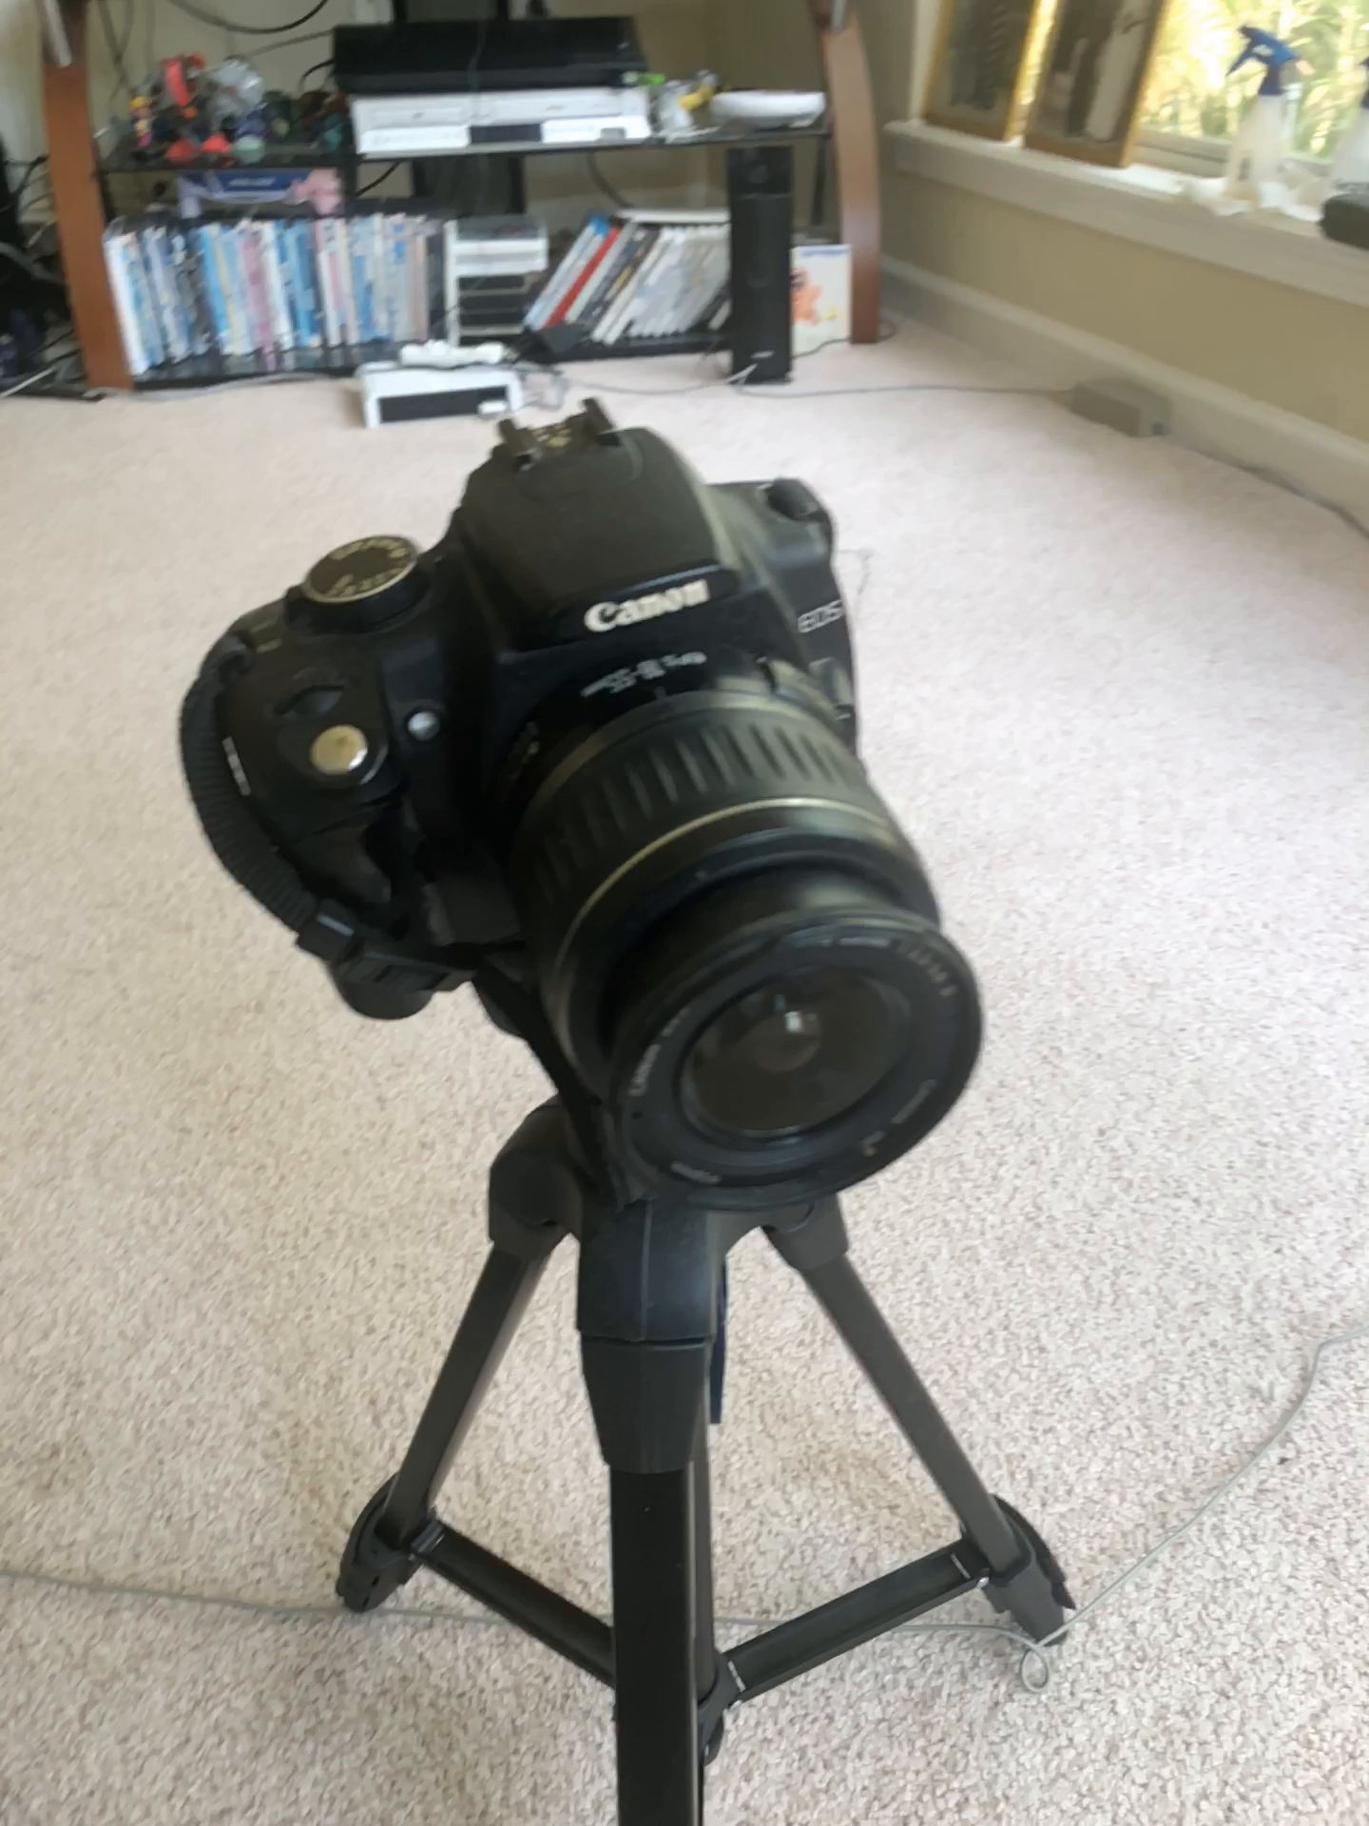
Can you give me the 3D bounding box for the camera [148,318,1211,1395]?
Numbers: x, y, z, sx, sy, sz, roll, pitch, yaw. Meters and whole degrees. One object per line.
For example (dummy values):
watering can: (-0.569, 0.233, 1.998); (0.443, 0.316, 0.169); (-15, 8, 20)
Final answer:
camera: (-0.009, -0.021, 0.272); (0.130, 0.093, 0.143); (-19, 44, -10)
